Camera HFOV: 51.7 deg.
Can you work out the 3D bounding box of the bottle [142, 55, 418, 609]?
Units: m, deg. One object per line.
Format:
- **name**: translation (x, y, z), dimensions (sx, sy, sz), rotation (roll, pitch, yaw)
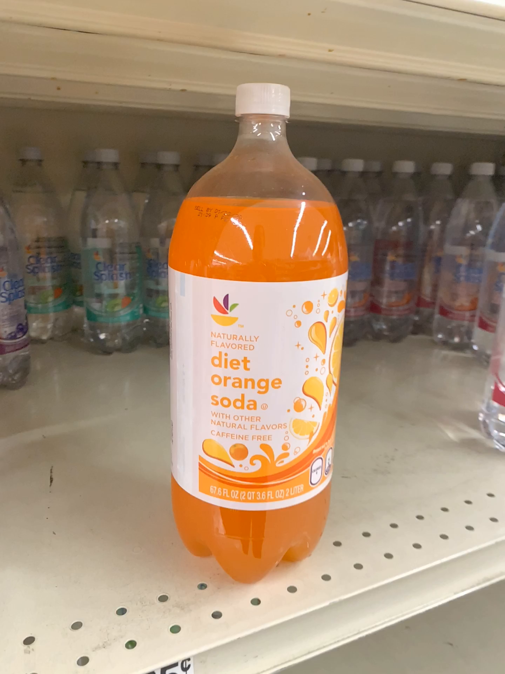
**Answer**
- **bottle**: translation (0.001, 0.000, 0.326), dimensions (0.120, 0.289, 0.110), rotation (2, 18, -1)
